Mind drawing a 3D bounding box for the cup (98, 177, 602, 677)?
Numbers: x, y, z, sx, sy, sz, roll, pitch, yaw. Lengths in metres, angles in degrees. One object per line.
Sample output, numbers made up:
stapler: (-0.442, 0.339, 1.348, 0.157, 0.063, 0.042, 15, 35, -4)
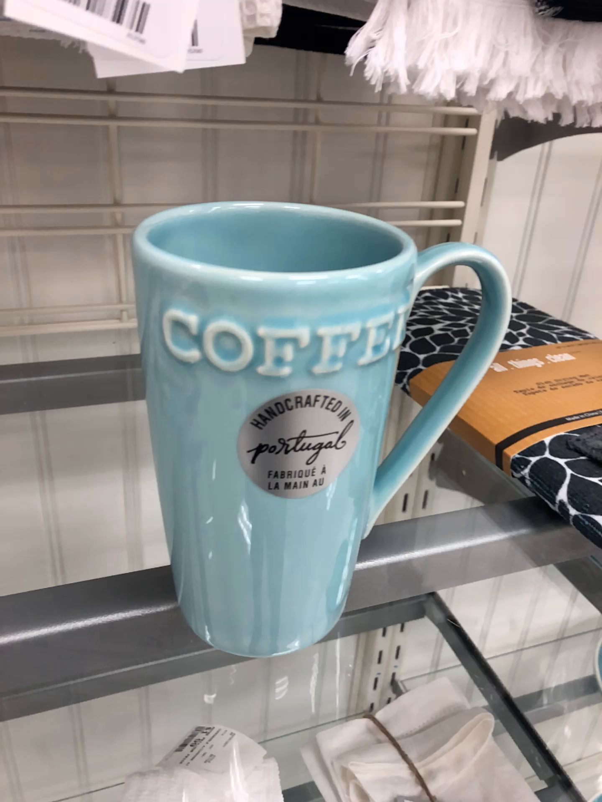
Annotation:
cup: (0.009, 0.005, 0.231, 0.130, 0.139, 0.091, 0, 27, -7)
